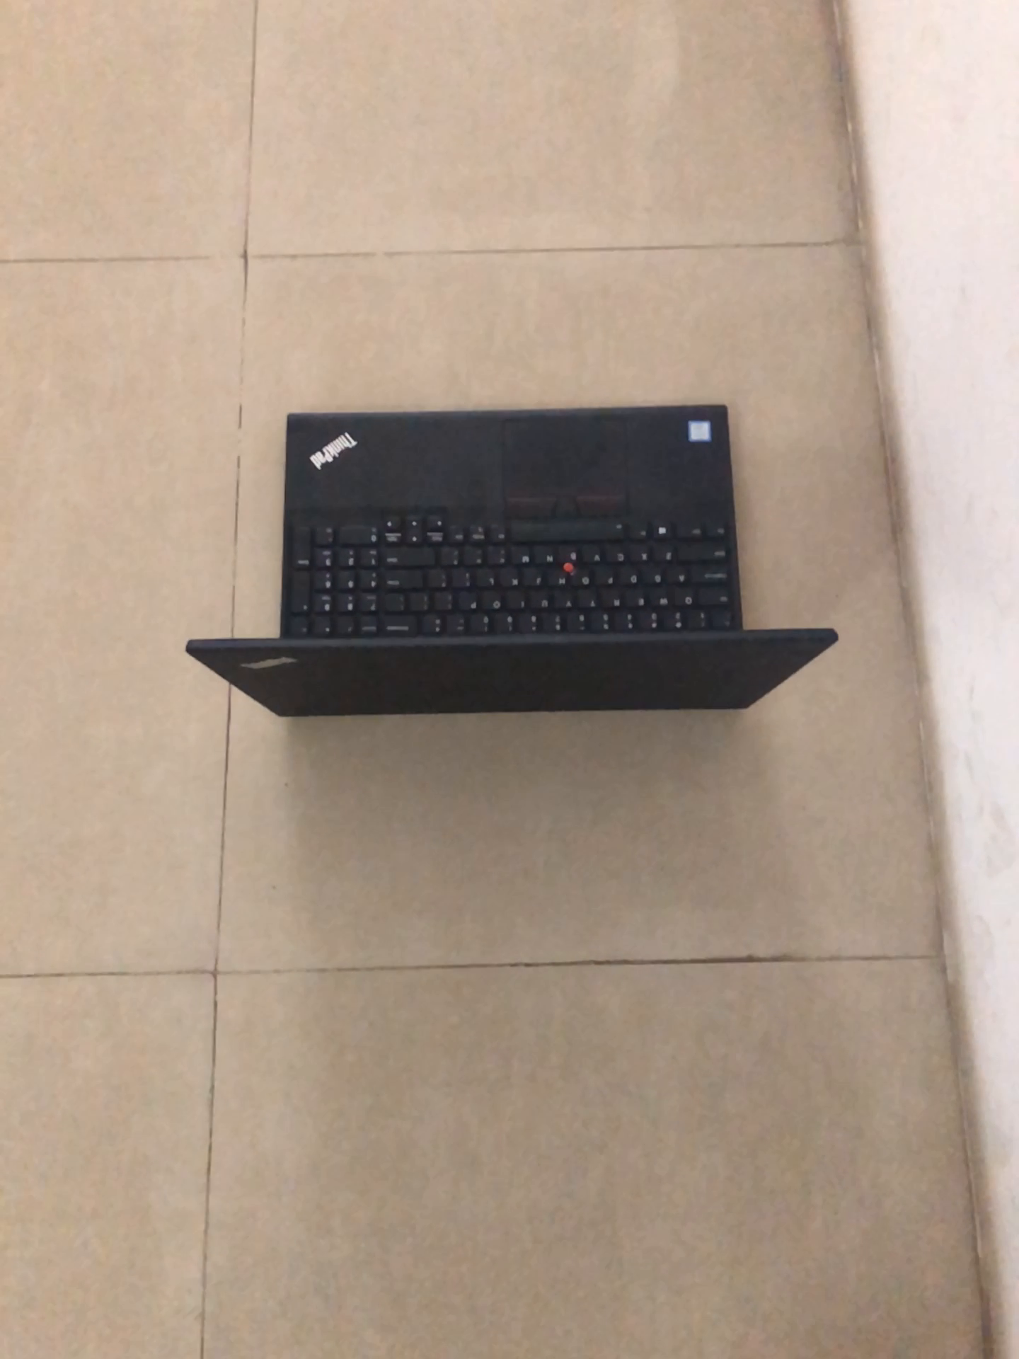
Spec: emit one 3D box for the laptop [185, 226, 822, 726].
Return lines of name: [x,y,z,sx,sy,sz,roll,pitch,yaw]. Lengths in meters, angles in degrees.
laptop: [-0.002,-0.121,0.766,0.353,0.241,0.255,-1,76,-1]
